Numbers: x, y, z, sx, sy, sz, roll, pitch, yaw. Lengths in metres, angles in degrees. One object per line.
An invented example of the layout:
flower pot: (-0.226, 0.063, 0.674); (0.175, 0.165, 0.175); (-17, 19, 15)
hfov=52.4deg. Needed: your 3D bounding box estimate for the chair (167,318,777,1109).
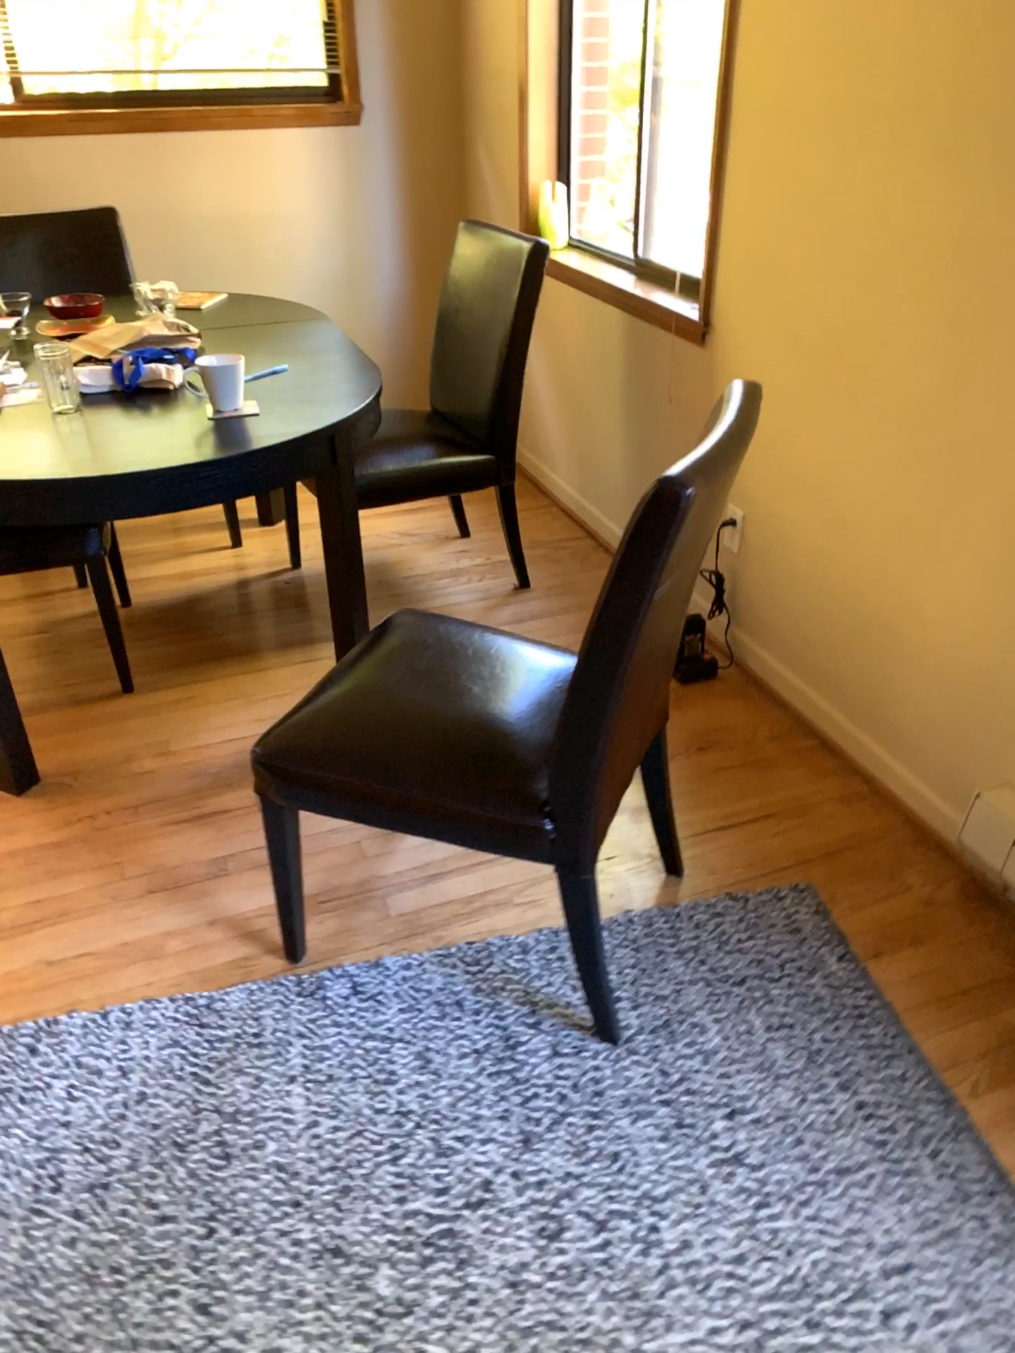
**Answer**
chair: (-0.006, 0.035, 1.671); (0.671, 1.034, 0.562); (10, 33, 18)
